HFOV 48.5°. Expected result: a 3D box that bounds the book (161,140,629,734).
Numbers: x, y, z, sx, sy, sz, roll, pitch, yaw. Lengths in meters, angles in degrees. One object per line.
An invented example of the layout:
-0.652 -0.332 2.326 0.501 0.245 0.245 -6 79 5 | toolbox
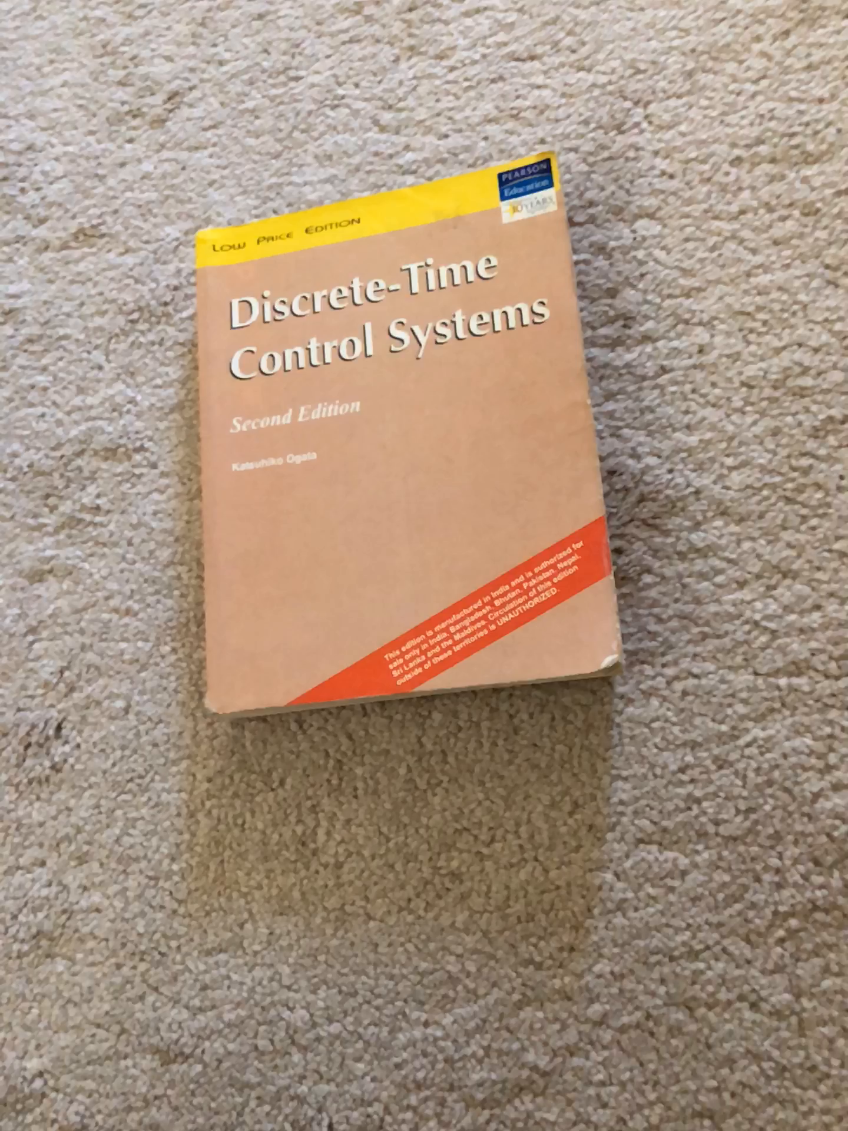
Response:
-0.020 -0.055 0.421 0.186 0.035 0.238 -8 76 11 | book
